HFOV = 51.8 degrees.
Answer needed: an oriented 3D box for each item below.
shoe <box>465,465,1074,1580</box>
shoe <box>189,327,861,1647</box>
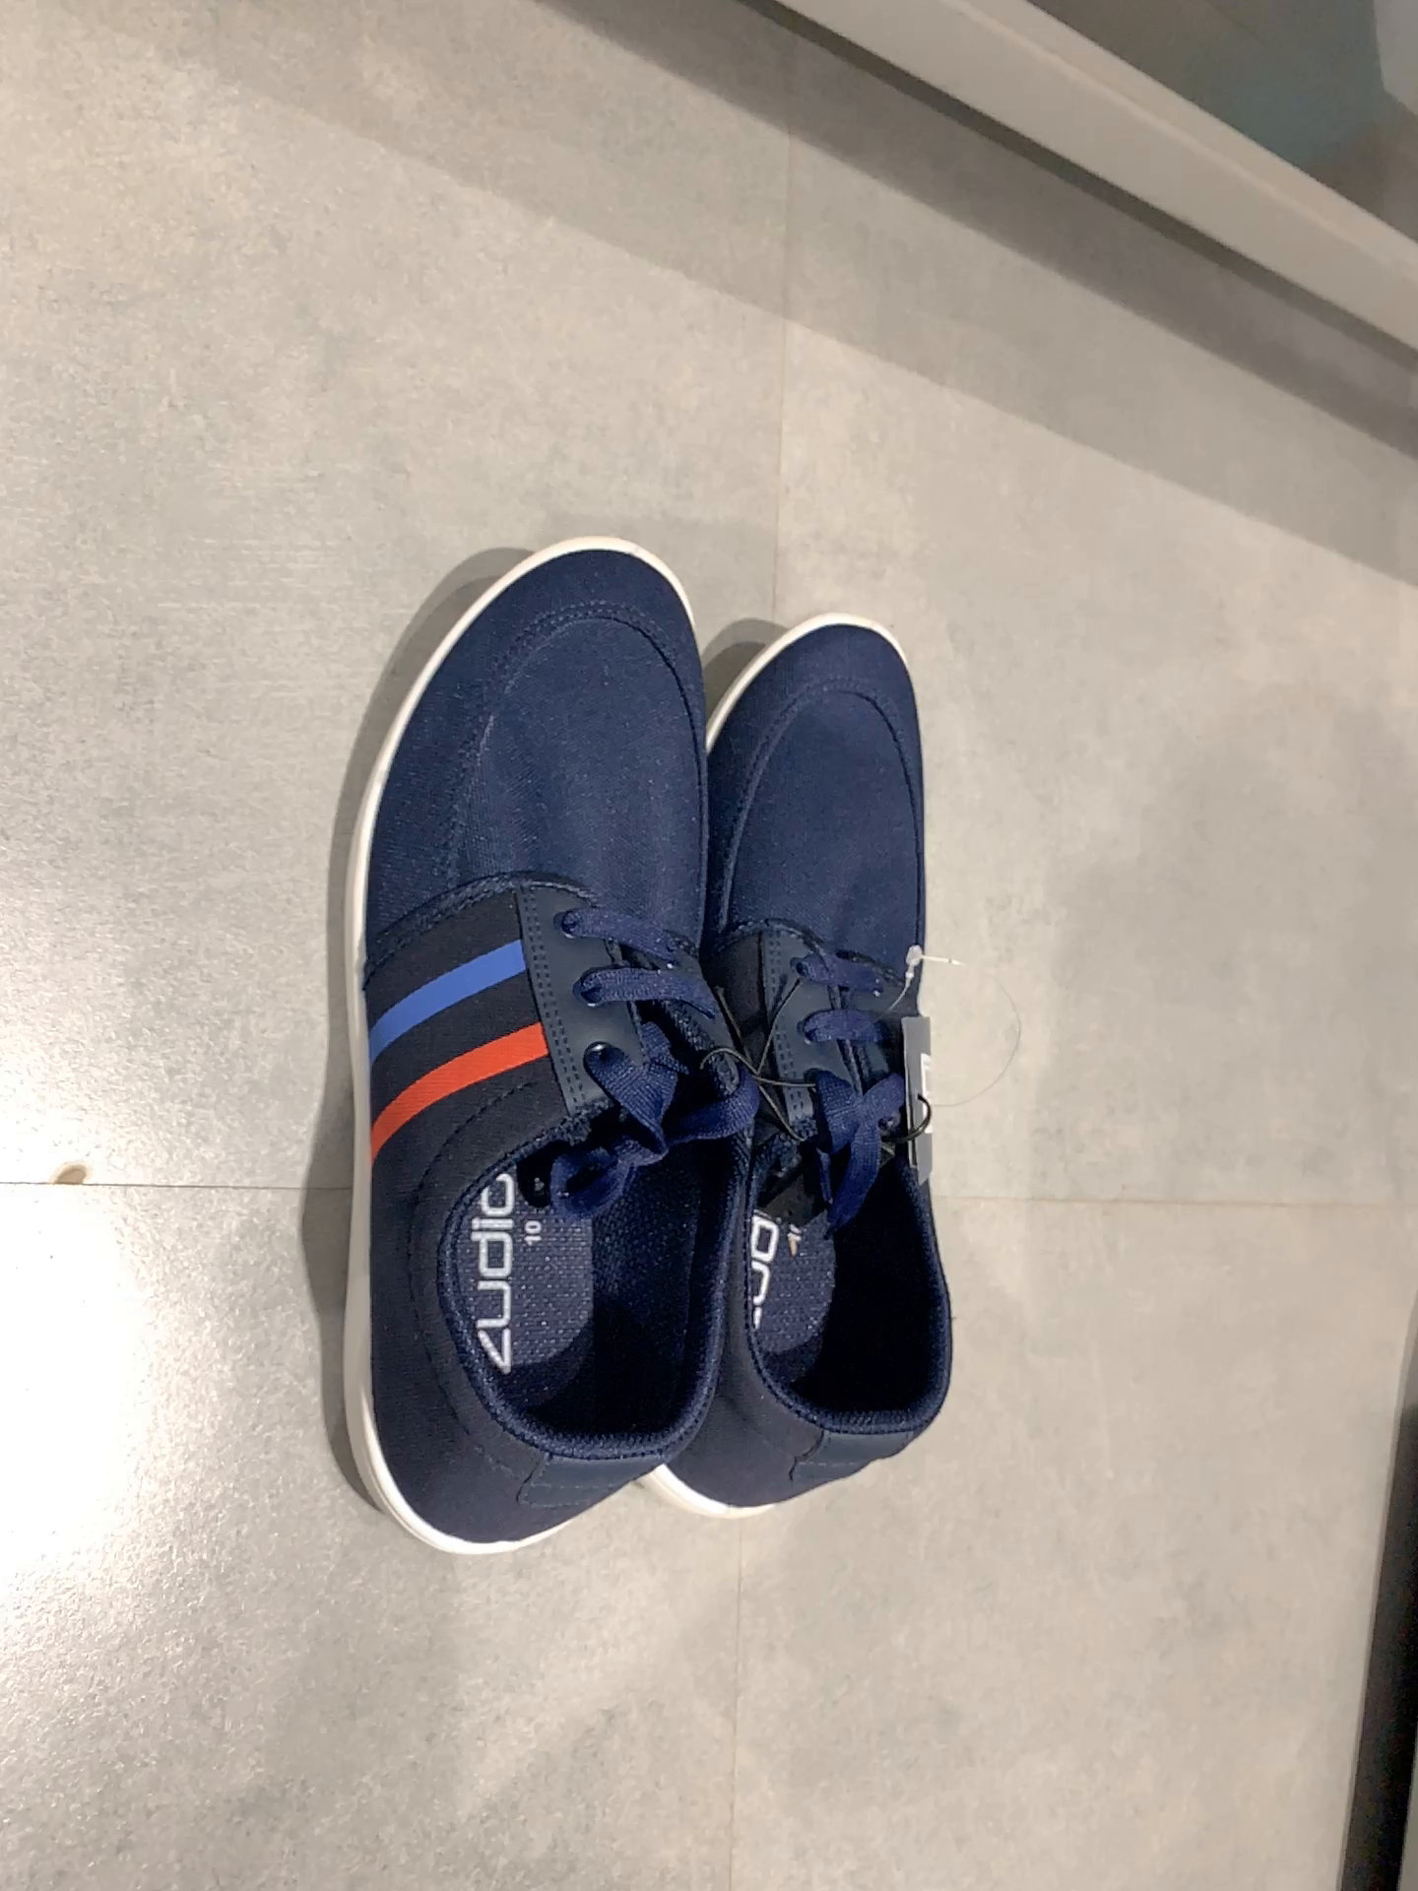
[{"bbox_3d":[0.025,0.027,0.471,0.120,0.100,0.310,16,76,-34],"label":"shoe"},{"bbox_3d":[-0.047,0.013,0.412,0.120,0.100,0.310,12,78,-34],"label":"shoe"}]
